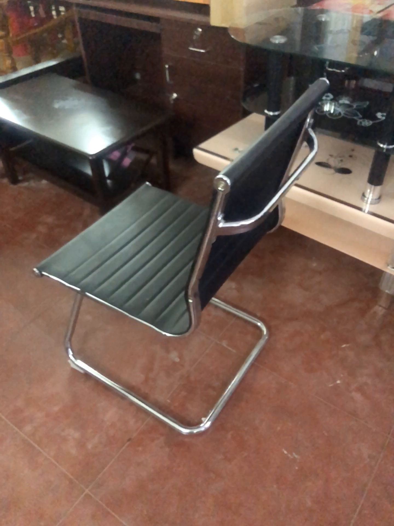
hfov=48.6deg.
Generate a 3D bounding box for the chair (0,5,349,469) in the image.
[{"bbox_3d":[-0.124,-0.091,1.138,0.680,0.856,0.593,23,47,25],"label":"chair"}]
